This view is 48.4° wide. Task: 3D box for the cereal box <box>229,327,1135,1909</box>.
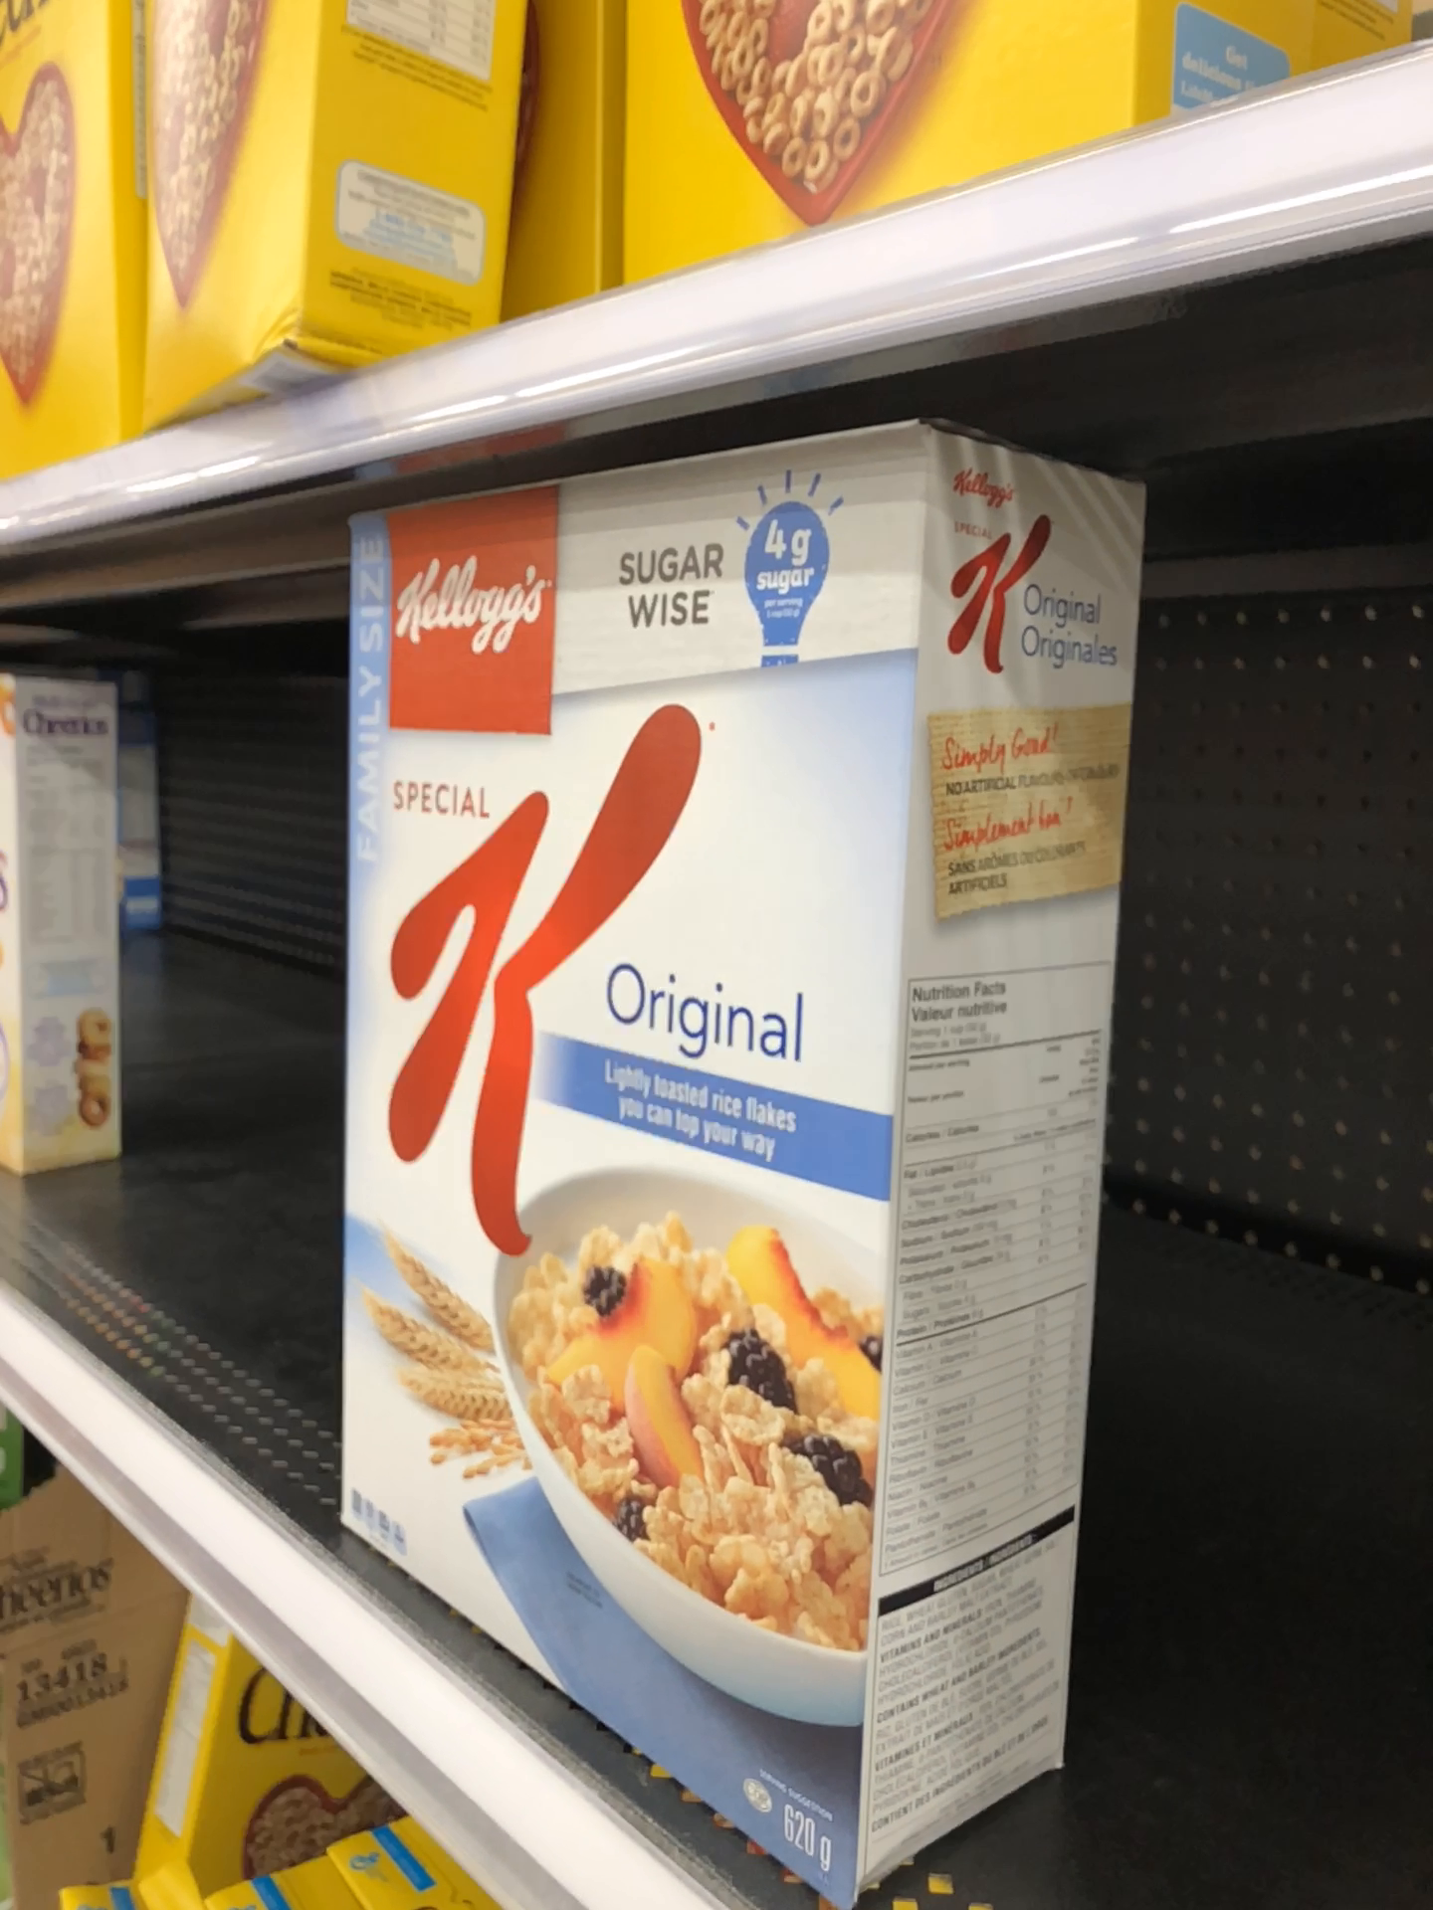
[{"bbox_3d":[-0.031,0.032,0.428,0.080,0.329,0.260,-6,10,-42],"label":"cereal box"}]
